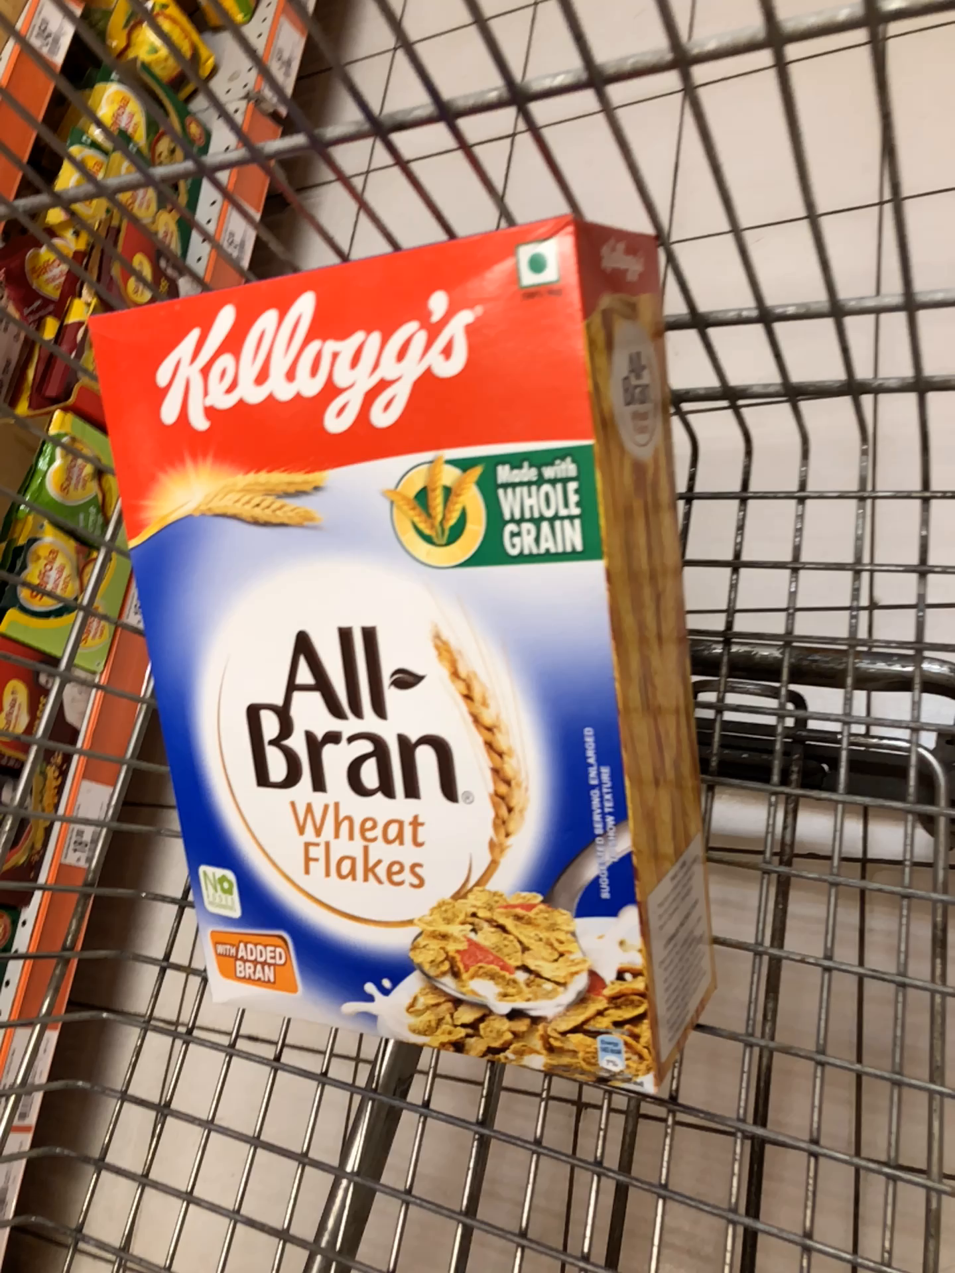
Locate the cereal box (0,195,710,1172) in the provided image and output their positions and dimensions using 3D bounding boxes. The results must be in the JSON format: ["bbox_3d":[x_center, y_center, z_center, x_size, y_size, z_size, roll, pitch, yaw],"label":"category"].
[{"bbox_3d":[-0.036,0.016,0.355,0.190,0.080,0.269,0,105,28],"label":"cereal box"}]
